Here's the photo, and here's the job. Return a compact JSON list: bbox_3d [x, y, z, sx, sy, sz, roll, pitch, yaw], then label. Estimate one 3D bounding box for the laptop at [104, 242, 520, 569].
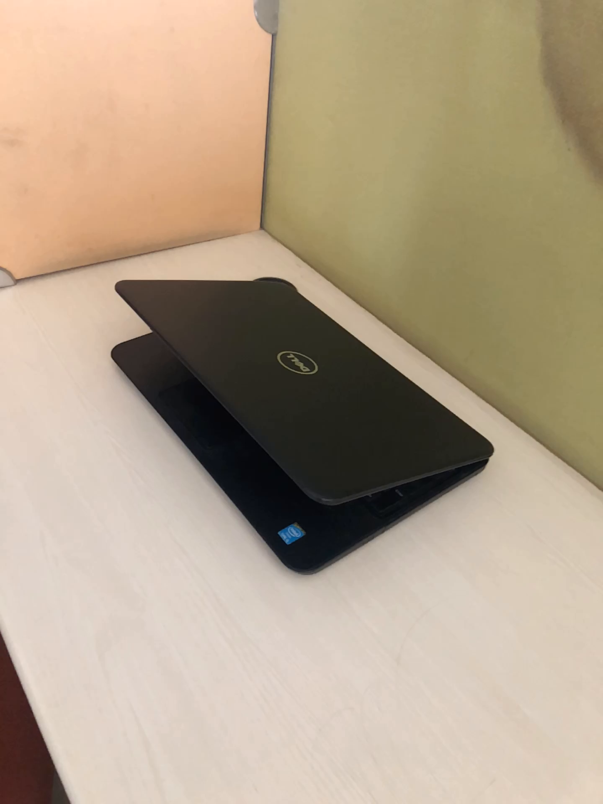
[{"bbox_3d":[-0.006,-0.030,0.686,0.247,0.078,0.354,-23,48,-30],"label":"laptop"}]
